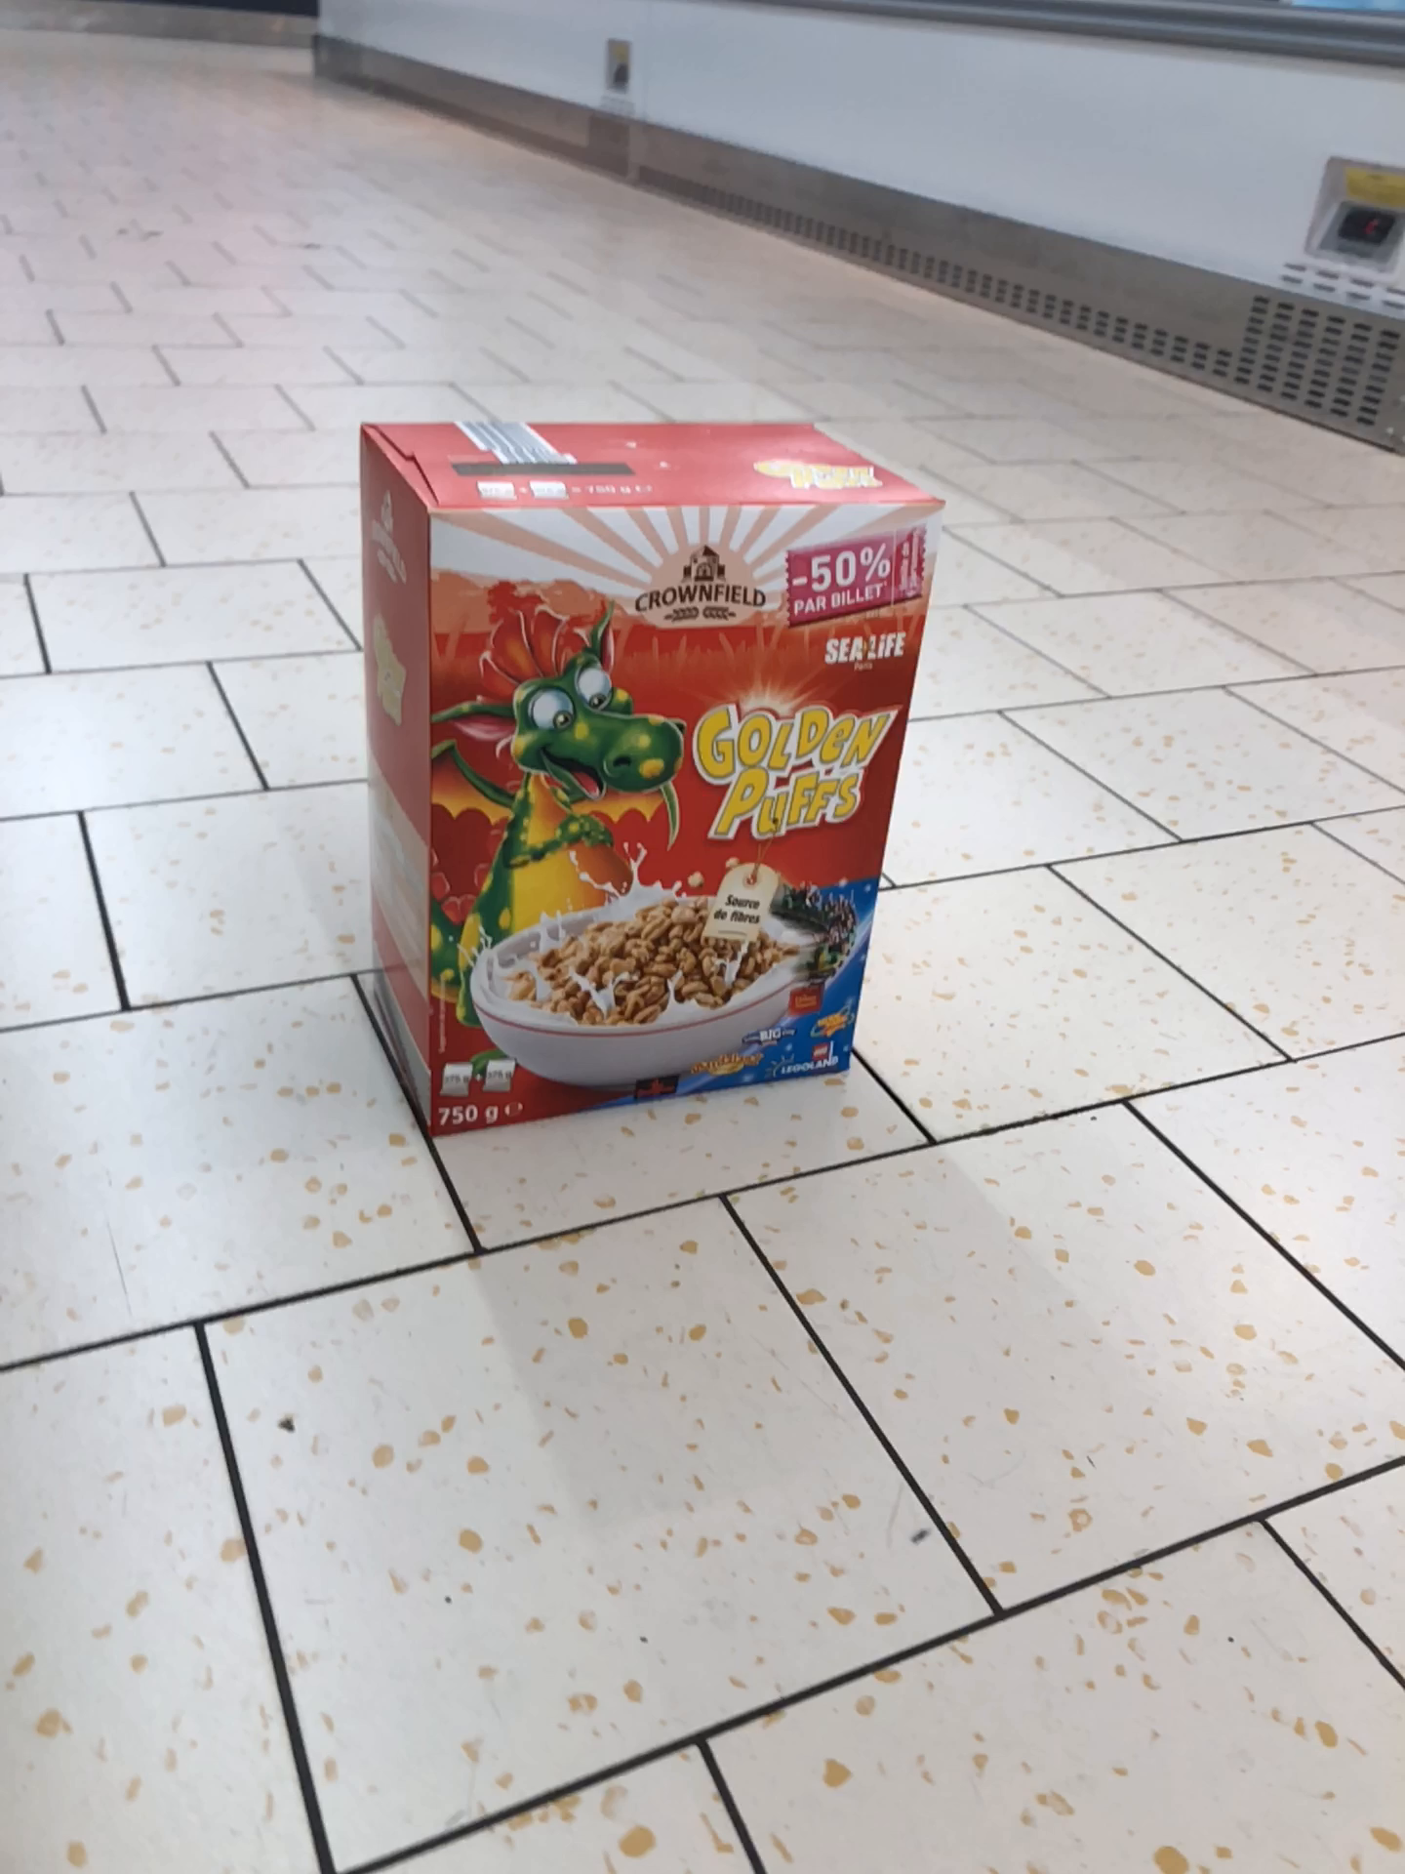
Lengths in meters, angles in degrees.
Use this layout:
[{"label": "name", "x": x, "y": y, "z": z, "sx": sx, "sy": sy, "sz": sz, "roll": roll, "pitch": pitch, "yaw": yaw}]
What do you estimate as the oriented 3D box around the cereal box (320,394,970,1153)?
[{"label": "cereal box", "x": -0.036, "y": -0.071, "z": 0.618, "sx": 0.201, "sy": 0.248, "sz": 0.140, "roll": -7, "pitch": 32, "yaw": -20}]
